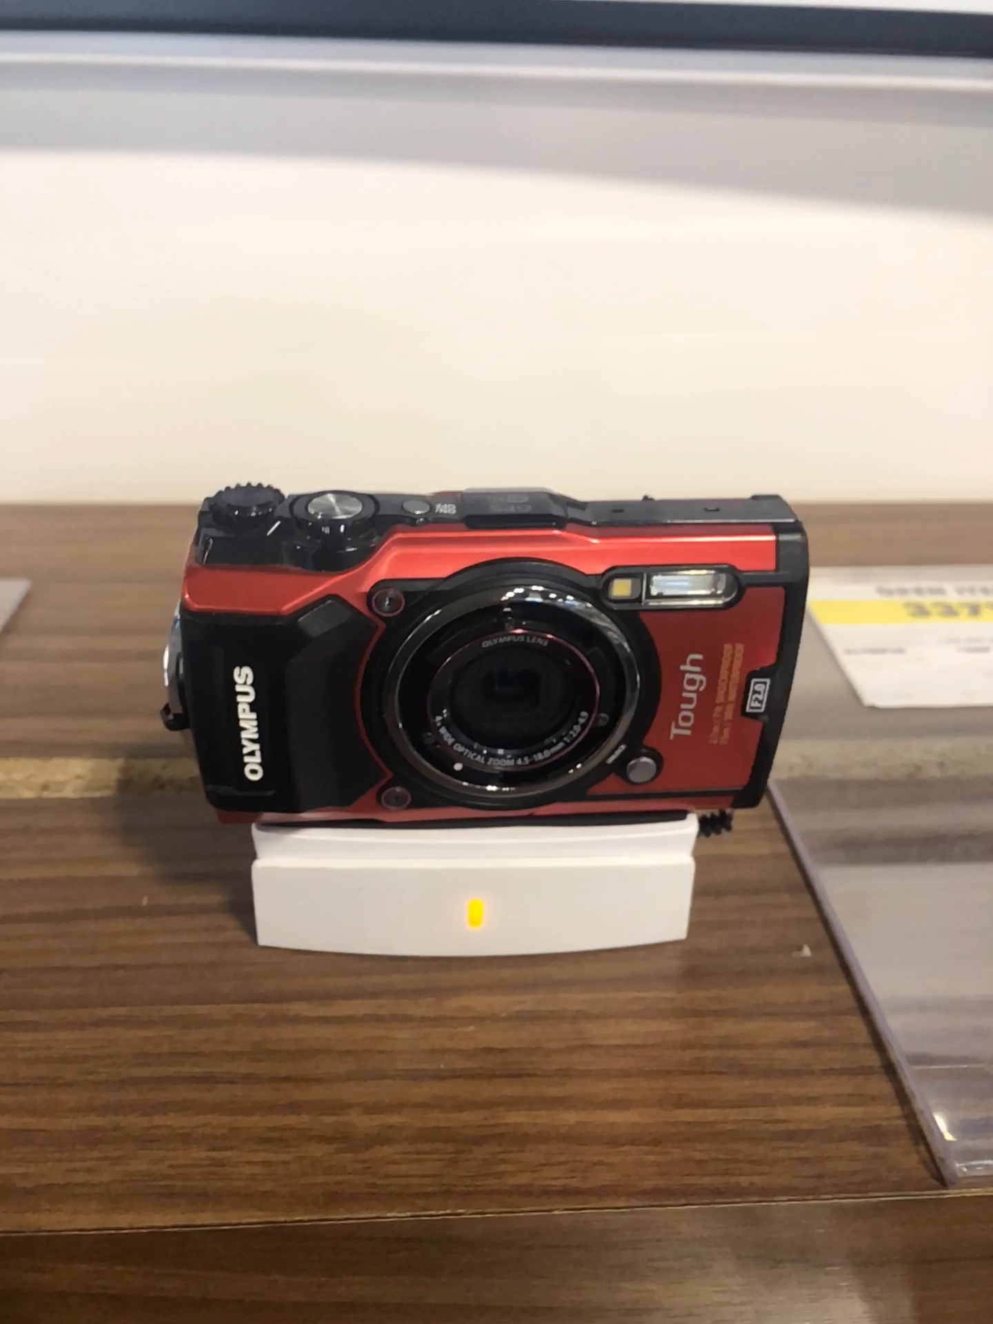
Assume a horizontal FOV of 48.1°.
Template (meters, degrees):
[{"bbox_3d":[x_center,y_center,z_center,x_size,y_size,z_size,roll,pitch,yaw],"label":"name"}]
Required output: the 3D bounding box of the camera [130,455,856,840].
[{"bbox_3d":[-0.001,-0.002,0.207,0.117,0.064,0.030,0,30,-3],"label":"camera"}]
